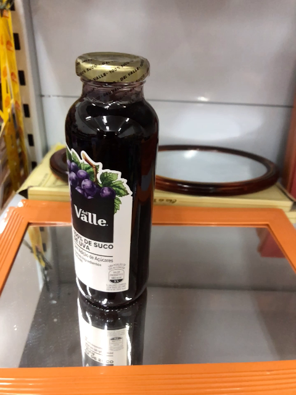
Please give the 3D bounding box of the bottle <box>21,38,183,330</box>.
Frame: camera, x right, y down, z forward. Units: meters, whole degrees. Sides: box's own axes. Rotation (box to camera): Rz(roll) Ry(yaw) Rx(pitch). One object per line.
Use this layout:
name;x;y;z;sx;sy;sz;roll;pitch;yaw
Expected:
bottle;-0.029;-0.004;0.237;0.070;0.189;0.060;17;33;20
